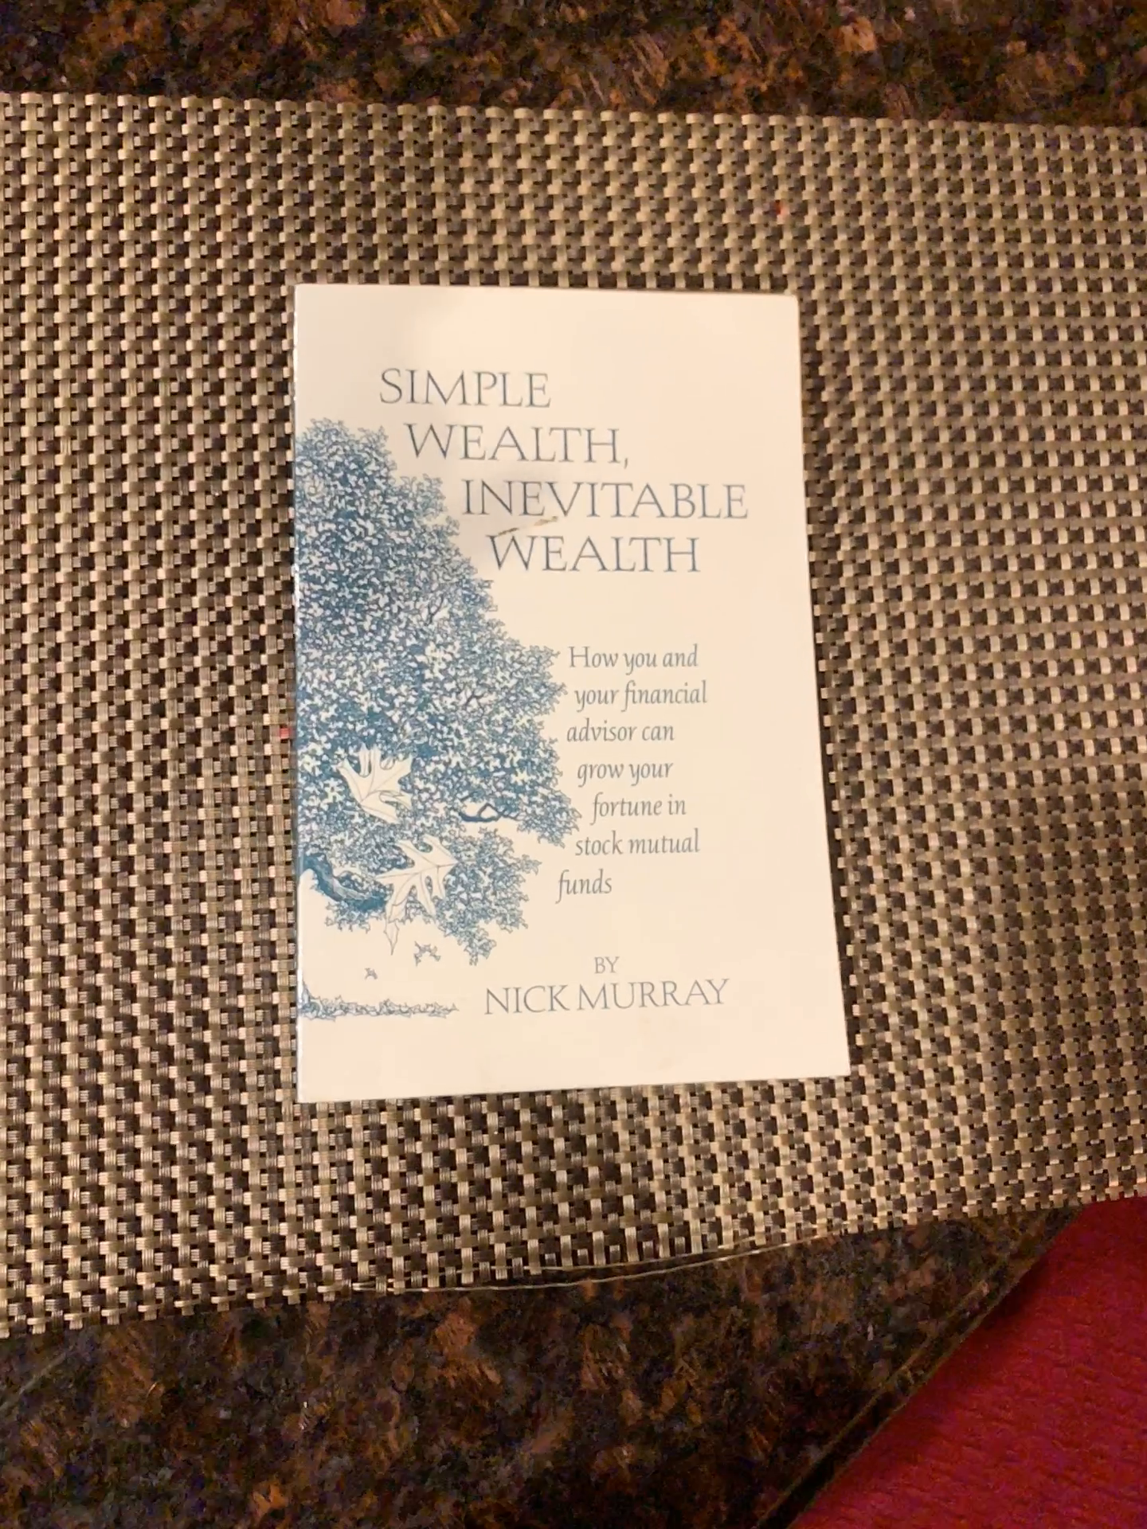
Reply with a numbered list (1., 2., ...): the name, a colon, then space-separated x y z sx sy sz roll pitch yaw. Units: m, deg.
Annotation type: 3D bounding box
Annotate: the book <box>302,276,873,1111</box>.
1. book: 0.002 -0.021 0.313 0.140 0.021 0.210 -1 83 -6
